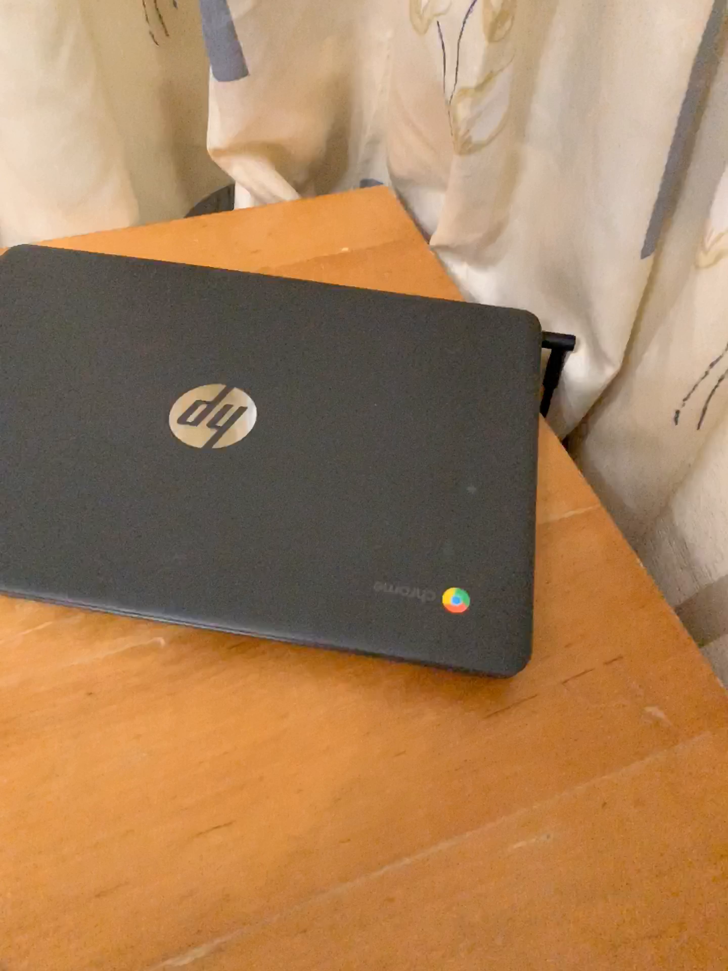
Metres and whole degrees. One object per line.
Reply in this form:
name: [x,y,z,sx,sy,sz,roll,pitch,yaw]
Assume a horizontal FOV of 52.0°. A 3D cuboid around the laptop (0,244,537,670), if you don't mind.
laptop: [-0.062,-0.031,0.311,0.261,0.004,0.186,8,51,5]
